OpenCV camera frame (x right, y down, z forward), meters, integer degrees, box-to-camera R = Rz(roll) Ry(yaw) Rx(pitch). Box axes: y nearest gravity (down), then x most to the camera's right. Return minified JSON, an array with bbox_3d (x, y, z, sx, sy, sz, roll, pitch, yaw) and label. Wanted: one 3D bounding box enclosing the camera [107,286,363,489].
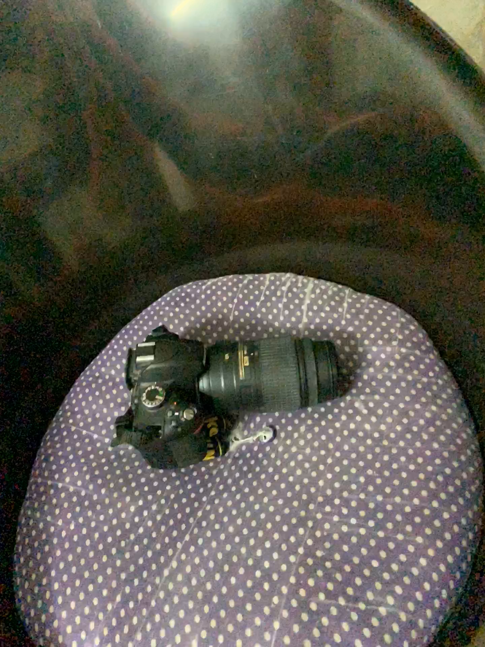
[{"bbox_3d":[-0.005,0.060,0.469,0.200,0.100,0.140,-6,48,3],"label":"camera"}]
